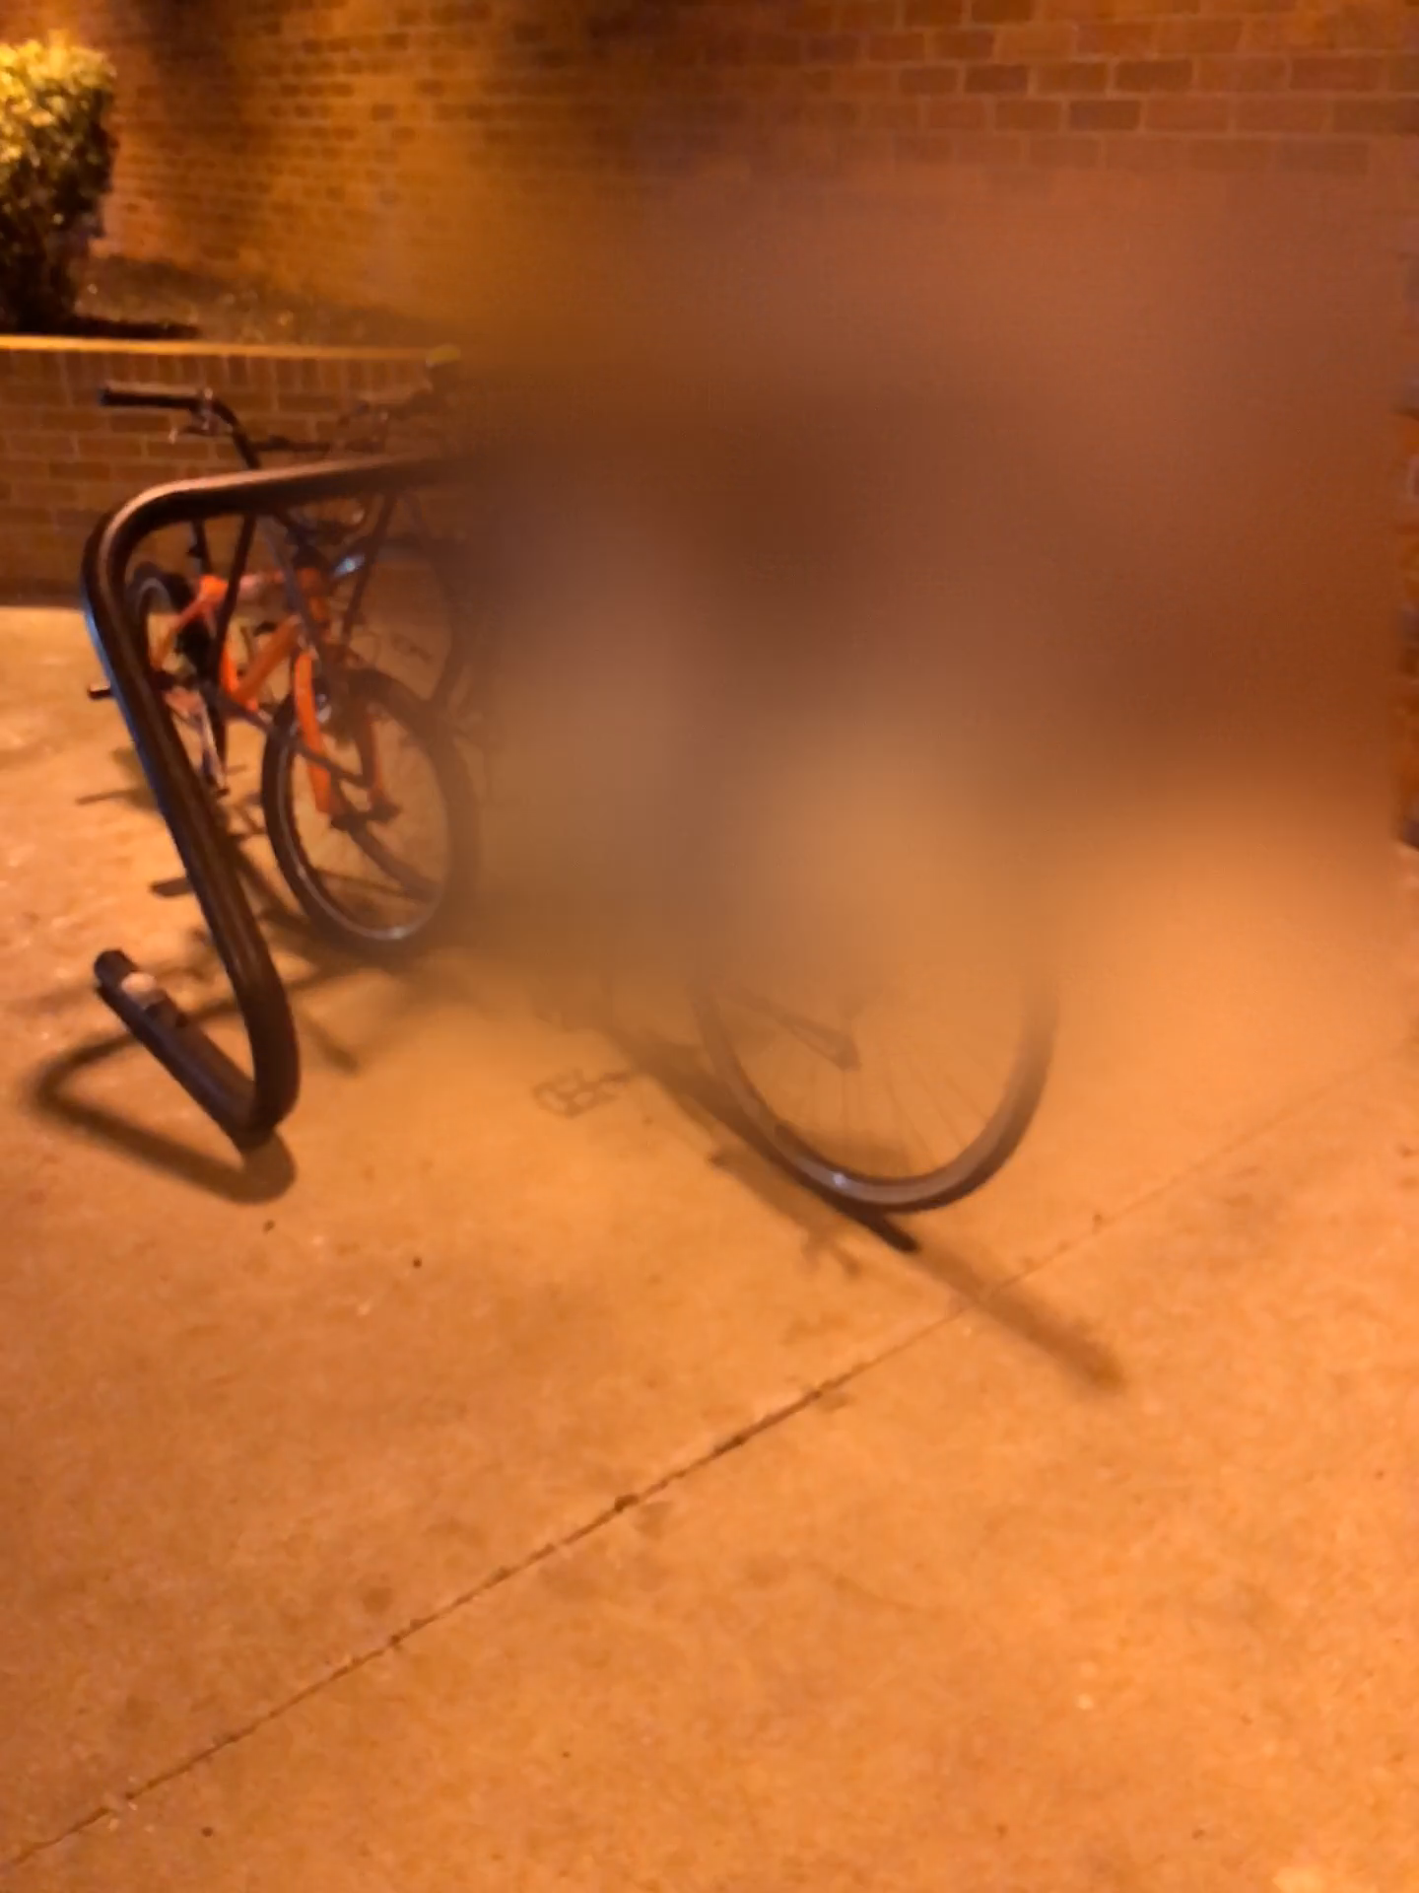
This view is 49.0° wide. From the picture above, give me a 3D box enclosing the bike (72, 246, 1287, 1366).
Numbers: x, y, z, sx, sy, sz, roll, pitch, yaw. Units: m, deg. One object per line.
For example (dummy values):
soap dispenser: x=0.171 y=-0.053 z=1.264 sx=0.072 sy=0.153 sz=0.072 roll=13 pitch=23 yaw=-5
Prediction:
bike: x=-0.177 y=-0.377 z=2.193 sx=0.639 sy=0.864 sz=1.647 roll=-20 pitch=38 yaw=-36
